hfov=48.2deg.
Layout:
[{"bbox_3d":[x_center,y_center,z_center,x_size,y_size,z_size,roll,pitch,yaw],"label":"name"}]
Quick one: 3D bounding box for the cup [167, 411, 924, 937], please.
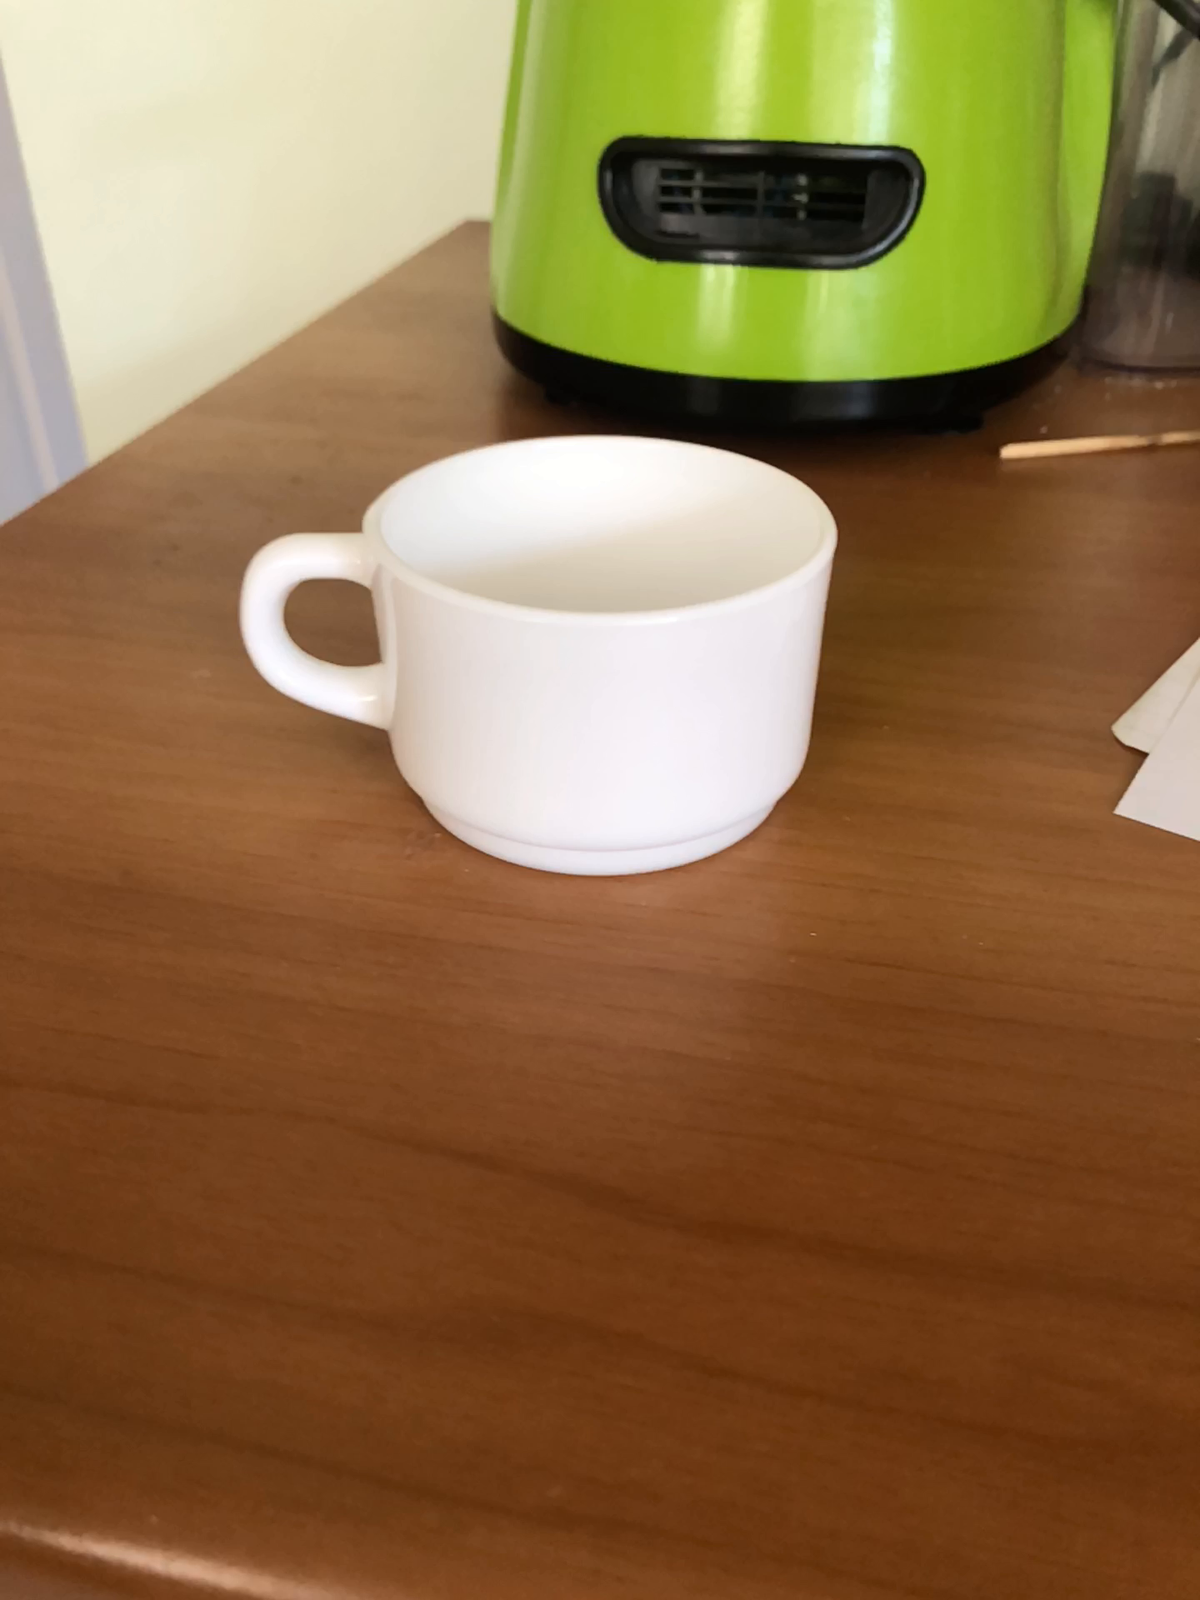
[{"bbox_3d":[-0.005,-0.025,0.223,0.100,0.050,0.081,3,34,3],"label":"cup"}]
